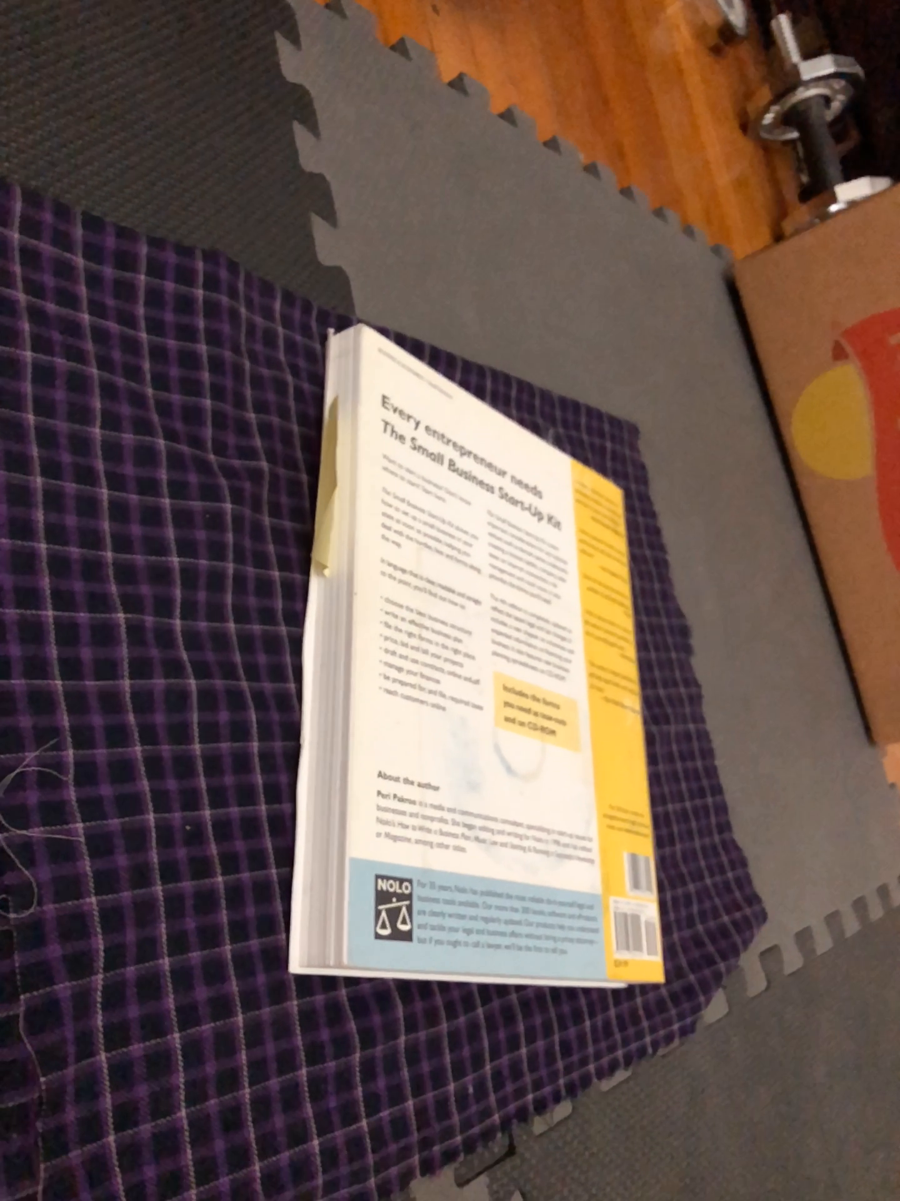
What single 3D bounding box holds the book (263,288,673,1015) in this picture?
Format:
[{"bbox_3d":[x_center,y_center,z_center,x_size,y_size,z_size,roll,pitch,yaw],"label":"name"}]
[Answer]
[{"bbox_3d":[0.020,0.034,0.491,0.231,0.030,0.311,24,56,-43],"label":"book"}]
